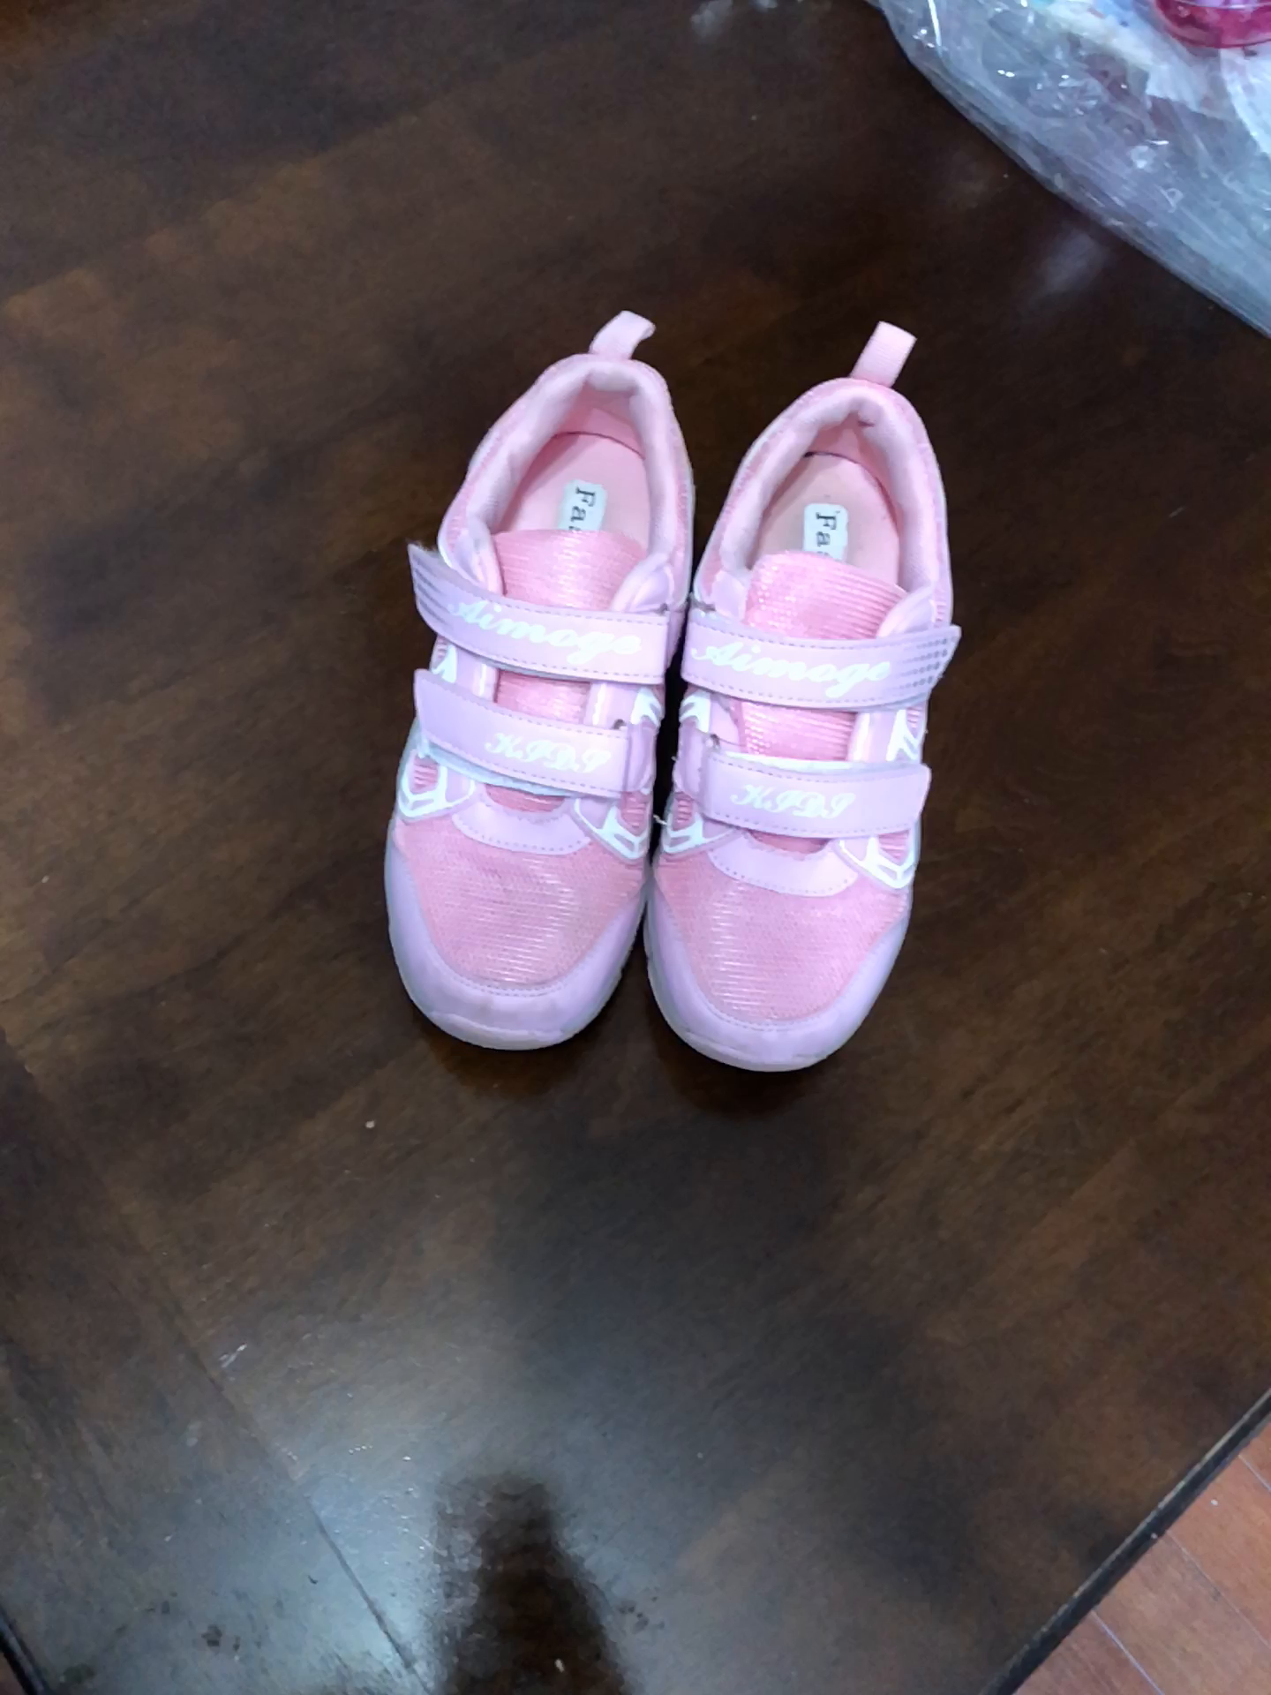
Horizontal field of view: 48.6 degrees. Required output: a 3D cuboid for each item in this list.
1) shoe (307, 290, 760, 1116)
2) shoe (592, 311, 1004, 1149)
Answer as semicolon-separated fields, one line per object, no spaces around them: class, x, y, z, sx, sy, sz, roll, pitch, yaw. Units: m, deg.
shoe;-0.026;-0.051;0.485;0.100;0.110;0.250;8;65;0
shoe;0.058;-0.043;0.493;0.110;0.110;0.260;7;65;-1
